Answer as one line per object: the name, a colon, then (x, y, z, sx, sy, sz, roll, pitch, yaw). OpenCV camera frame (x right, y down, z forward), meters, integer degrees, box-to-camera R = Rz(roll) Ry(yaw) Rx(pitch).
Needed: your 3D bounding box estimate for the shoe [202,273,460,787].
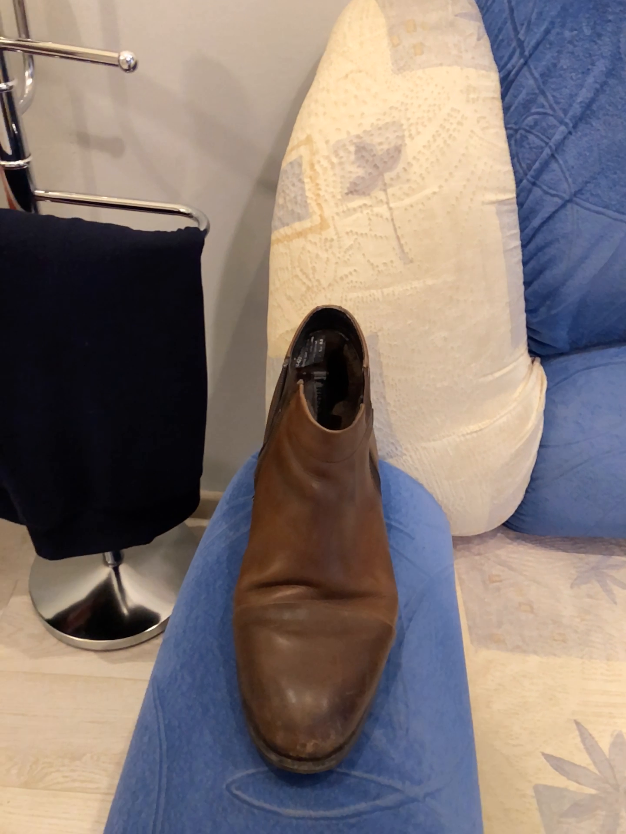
shoe: (0.008, 0.049, 0.455, 0.110, 0.139, 0.312, 3, 42, -1)
